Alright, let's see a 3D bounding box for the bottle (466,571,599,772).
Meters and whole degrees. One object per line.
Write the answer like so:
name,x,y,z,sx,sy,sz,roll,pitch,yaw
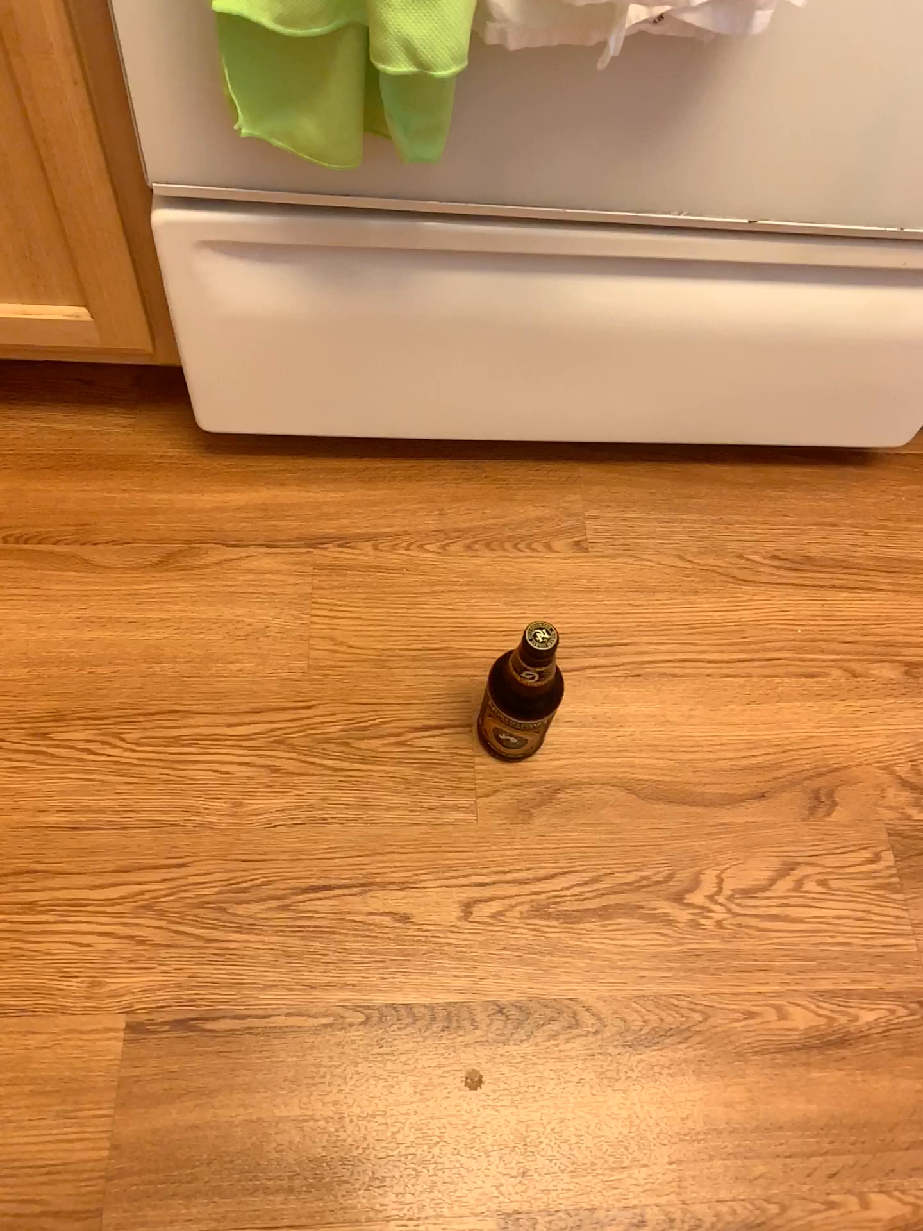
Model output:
bottle,0.051,0.052,0.751,0.060,0.209,0.060,3,61,-5
